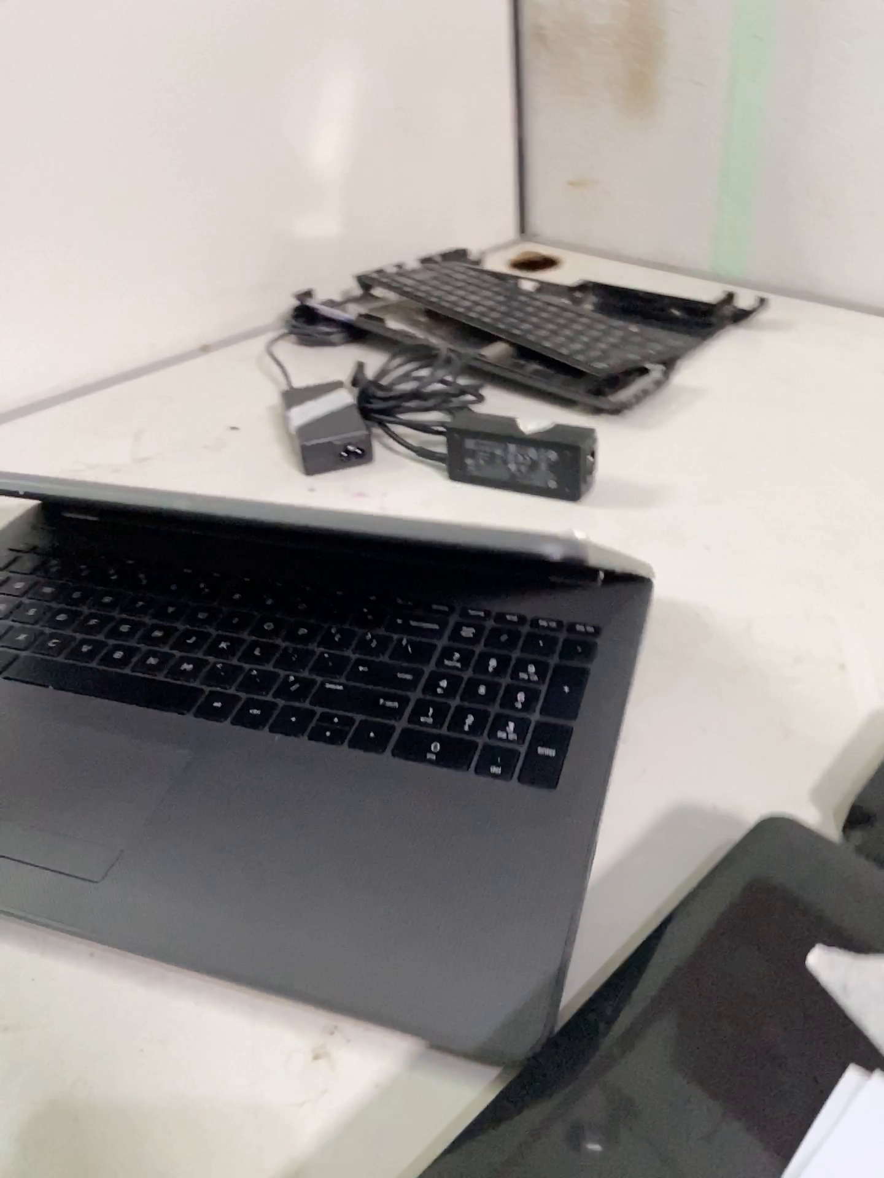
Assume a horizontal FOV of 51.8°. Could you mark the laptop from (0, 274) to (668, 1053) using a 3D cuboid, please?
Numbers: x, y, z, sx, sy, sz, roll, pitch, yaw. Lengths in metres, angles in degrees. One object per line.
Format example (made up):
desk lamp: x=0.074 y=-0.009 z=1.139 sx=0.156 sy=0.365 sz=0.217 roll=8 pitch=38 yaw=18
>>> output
laptop: x=-0.118 y=-0.016 z=0.384 sx=0.379 sy=0.141 sz=0.249 roll=8 pitch=38 yaw=18
